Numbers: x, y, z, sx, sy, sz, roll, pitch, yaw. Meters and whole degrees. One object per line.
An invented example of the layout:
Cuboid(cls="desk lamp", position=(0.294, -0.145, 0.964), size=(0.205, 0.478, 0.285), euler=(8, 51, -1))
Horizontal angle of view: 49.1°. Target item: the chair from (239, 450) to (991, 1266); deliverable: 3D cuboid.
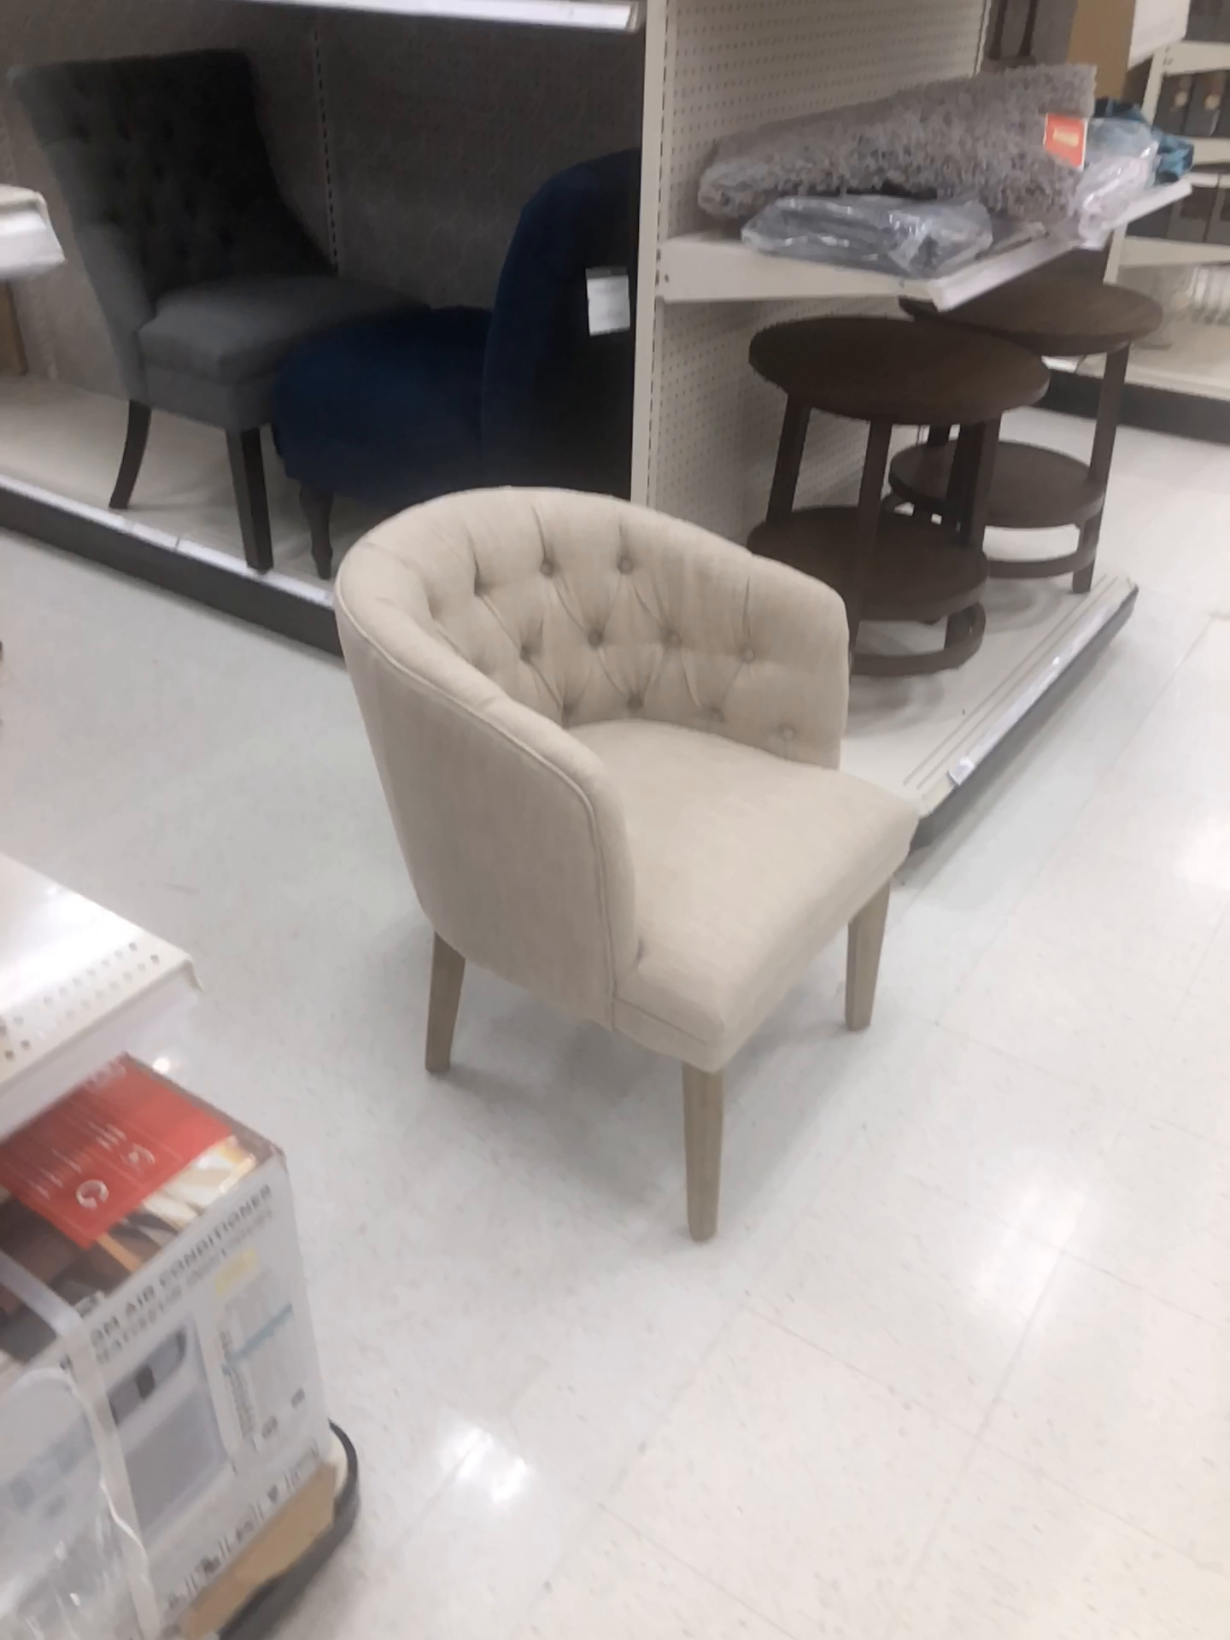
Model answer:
Cuboid(cls="chair", position=(0.006, 0.006, 1.763), size=(0.682, 0.700, 0.563), euler=(20, 38, 25))
